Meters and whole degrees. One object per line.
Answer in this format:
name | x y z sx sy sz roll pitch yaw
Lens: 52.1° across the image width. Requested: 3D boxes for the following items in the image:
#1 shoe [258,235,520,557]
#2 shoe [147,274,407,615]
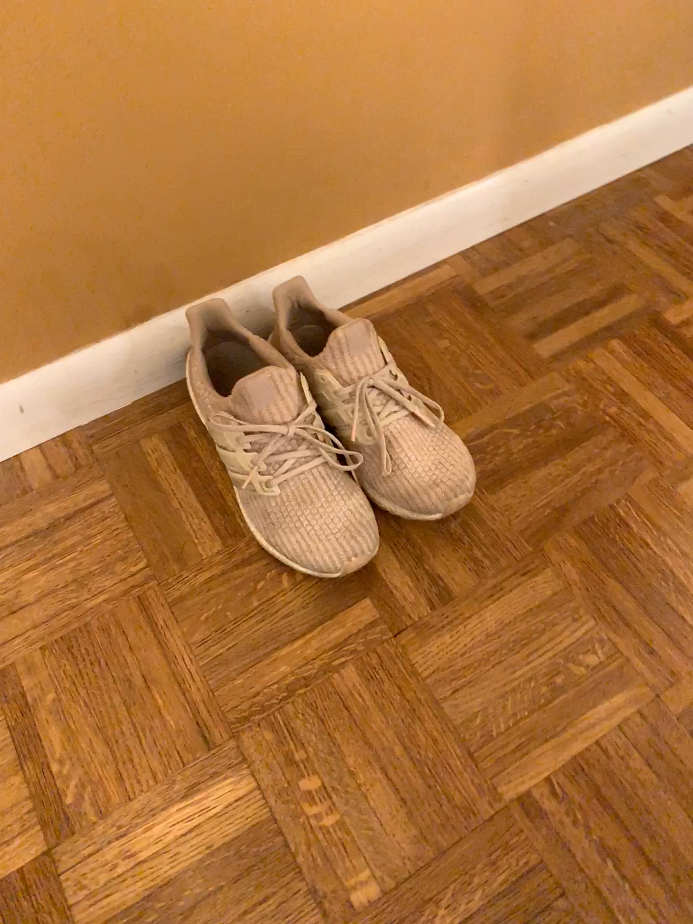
shoe | 0.028 -0.061 0.674 0.110 0.120 0.260 -27 74 -15
shoe | -0.069 -0.016 0.666 0.100 0.130 0.281 -27 71 -15
